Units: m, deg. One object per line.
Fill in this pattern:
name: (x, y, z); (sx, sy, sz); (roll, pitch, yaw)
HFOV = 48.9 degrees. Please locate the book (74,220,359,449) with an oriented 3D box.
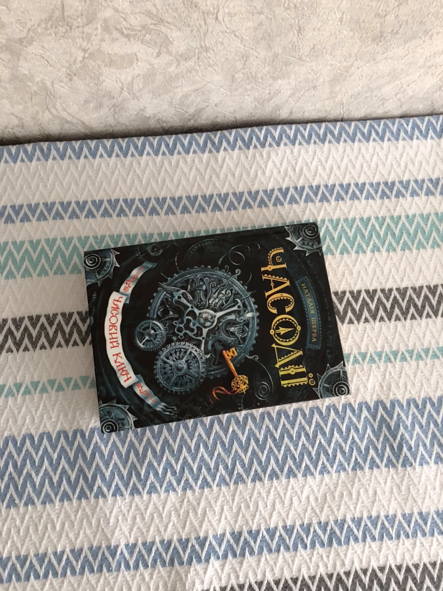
book: (-0.008, 0.033, 0.464); (0.238, 0.032, 0.178); (-8, 79, -4)
